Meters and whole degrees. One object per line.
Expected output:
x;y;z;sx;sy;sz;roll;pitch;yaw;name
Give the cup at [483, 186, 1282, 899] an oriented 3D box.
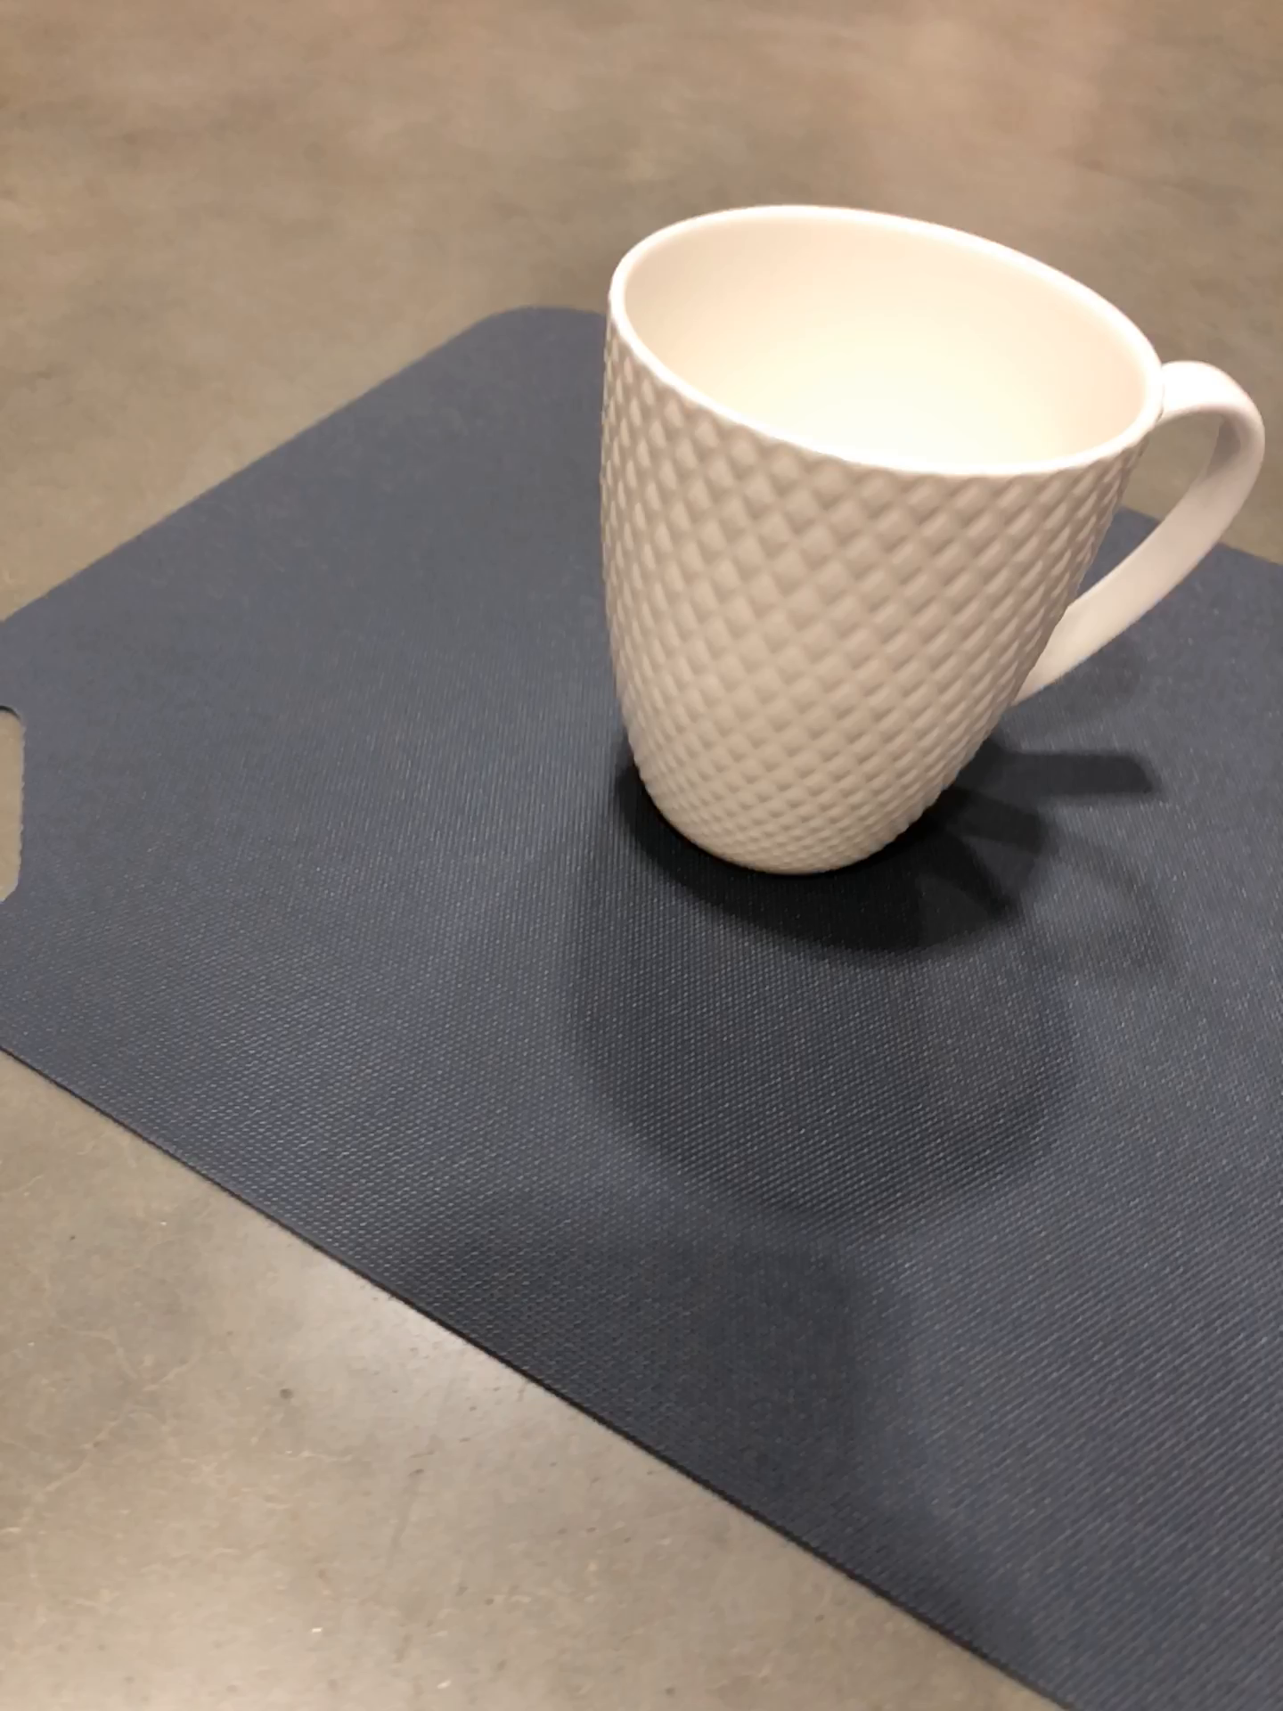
0.042;-0.061;0.272;0.130;0.090;0.090;-5;47;-13;cup
